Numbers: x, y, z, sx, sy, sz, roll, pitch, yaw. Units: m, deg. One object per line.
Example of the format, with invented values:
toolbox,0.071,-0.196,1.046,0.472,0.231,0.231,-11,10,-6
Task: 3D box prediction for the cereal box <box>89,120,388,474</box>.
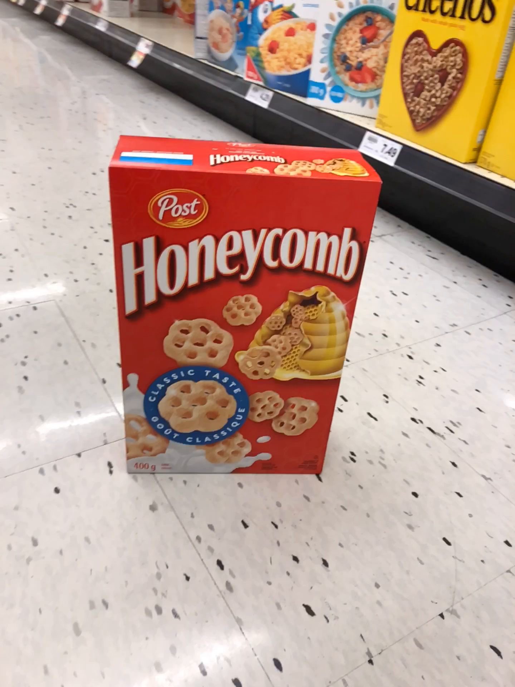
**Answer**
cereal box,-0.026,-0.022,0.494,0.200,0.298,0.081,2,34,-6
